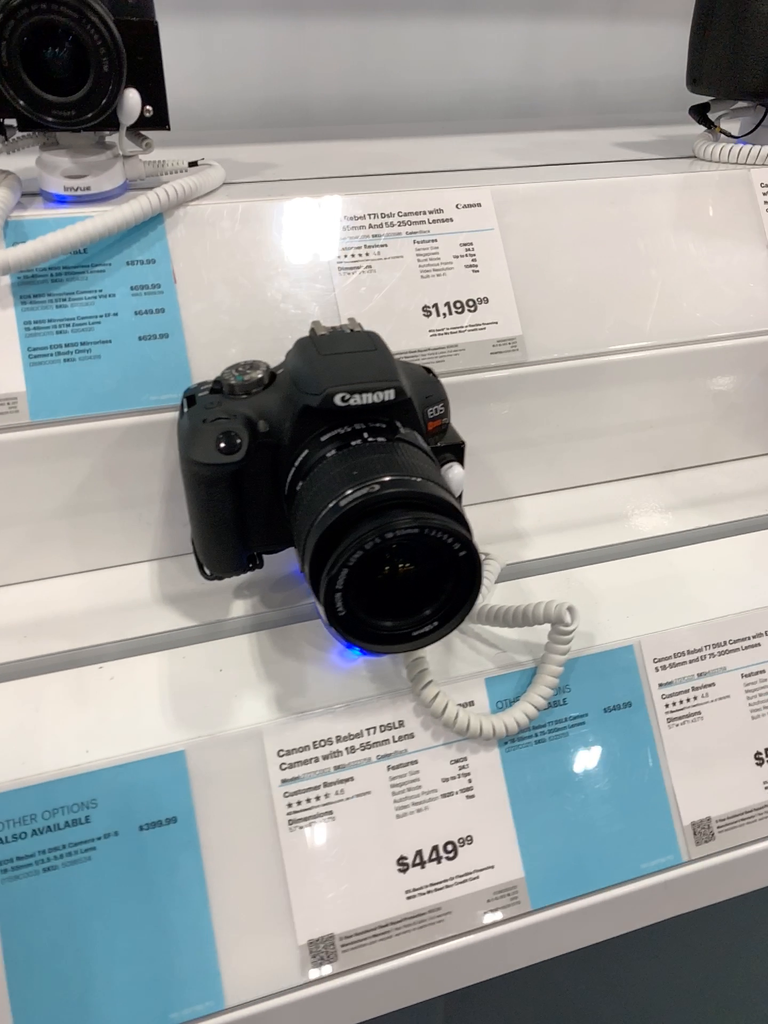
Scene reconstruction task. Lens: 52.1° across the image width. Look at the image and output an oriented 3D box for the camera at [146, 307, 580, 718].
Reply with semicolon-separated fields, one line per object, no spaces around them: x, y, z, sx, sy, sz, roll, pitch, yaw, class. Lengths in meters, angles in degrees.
-0.019;-0.014;0.336;0.130;0.089;0.151;-11;34;-17;camera
